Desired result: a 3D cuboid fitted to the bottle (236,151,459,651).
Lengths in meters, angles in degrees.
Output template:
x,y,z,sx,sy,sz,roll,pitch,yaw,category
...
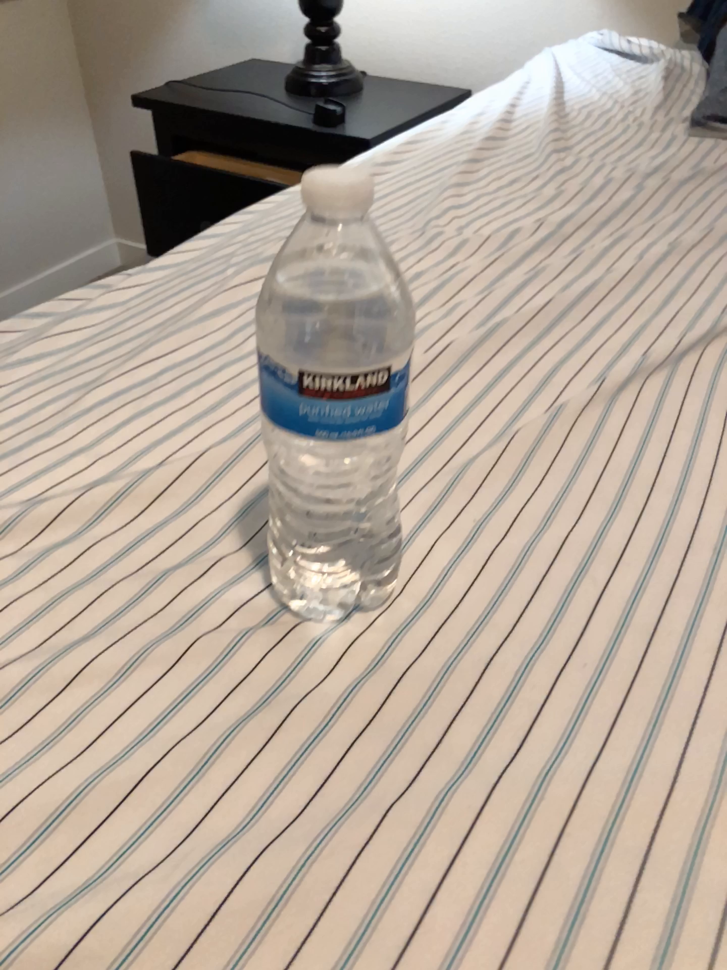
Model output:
x,y,z,sx,sy,sz,roll,pitch,yaw,category
-0.008,-0.026,0.342,0.070,0.199,0.070,0,38,0,bottle
